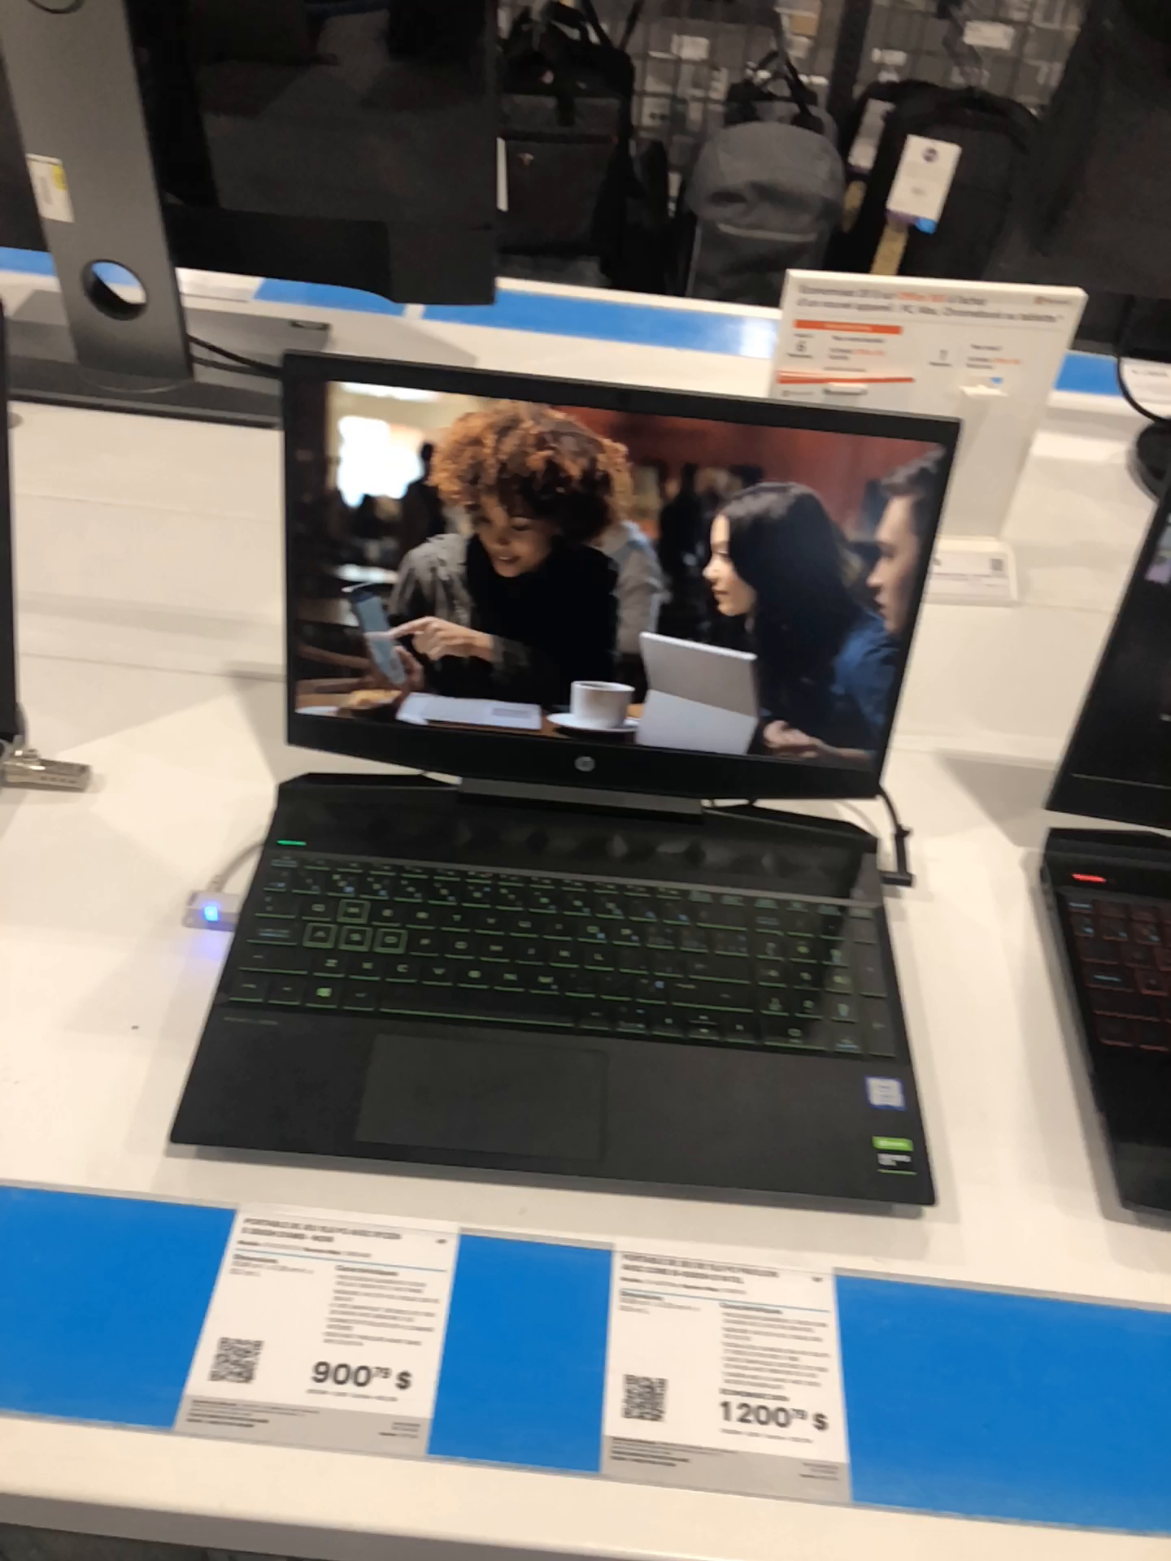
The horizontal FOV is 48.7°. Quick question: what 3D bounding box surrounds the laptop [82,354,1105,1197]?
[{"bbox_3d":[0.001,-0.013,0.642,0.355,0.232,0.318,6,41,-3],"label":"laptop"}]
